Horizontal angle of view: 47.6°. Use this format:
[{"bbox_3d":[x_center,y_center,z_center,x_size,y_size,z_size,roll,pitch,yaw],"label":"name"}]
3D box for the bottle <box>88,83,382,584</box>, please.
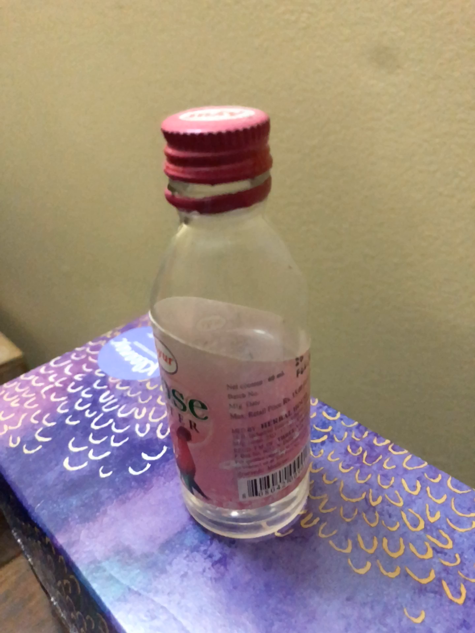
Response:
[{"bbox_3d":[0.000,0.005,0.122,0.040,0.100,0.040,-3,31,1],"label":"bottle"}]
